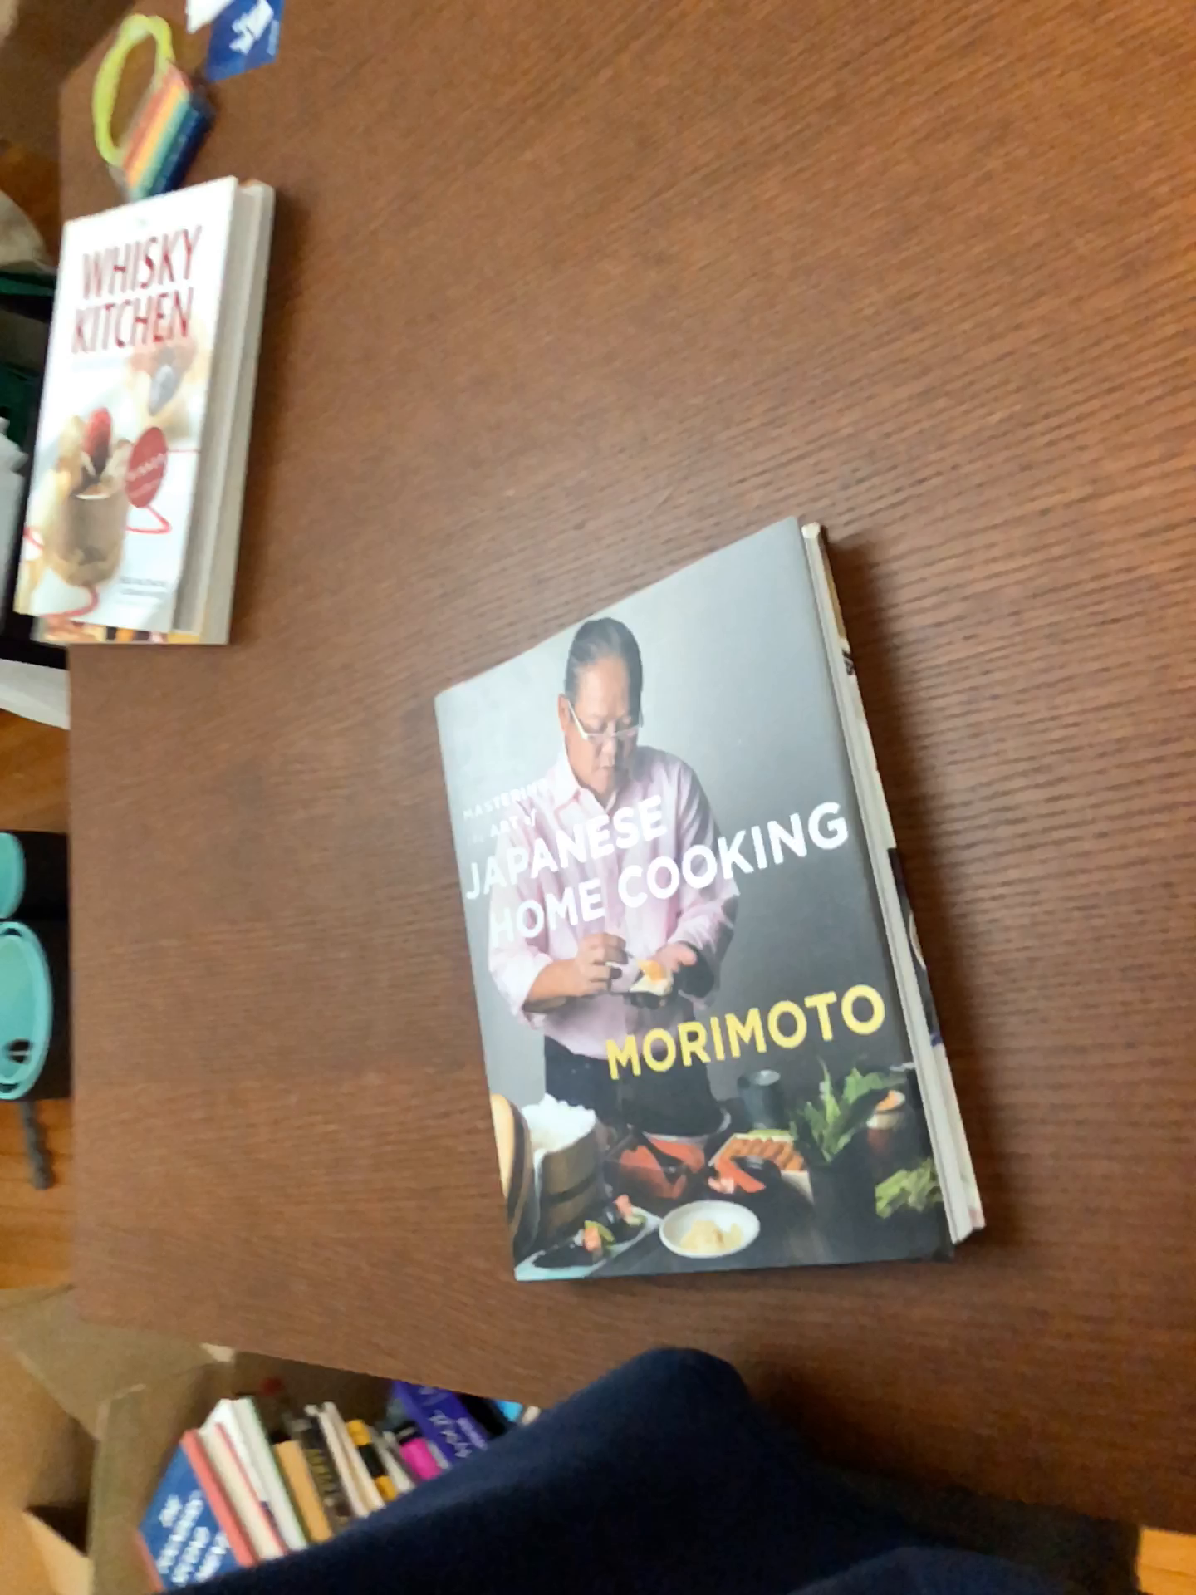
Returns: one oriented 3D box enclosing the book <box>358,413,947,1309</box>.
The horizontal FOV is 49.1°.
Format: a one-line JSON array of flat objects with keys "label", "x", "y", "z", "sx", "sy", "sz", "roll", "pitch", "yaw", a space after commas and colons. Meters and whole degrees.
[{"label": "book", "x": 0.000, "y": 0.038, "z": 0.515, "sx": 0.220, "sy": 0.030, "sz": 0.300, "roll": -21, "pitch": 72, "yaw": 40}]
